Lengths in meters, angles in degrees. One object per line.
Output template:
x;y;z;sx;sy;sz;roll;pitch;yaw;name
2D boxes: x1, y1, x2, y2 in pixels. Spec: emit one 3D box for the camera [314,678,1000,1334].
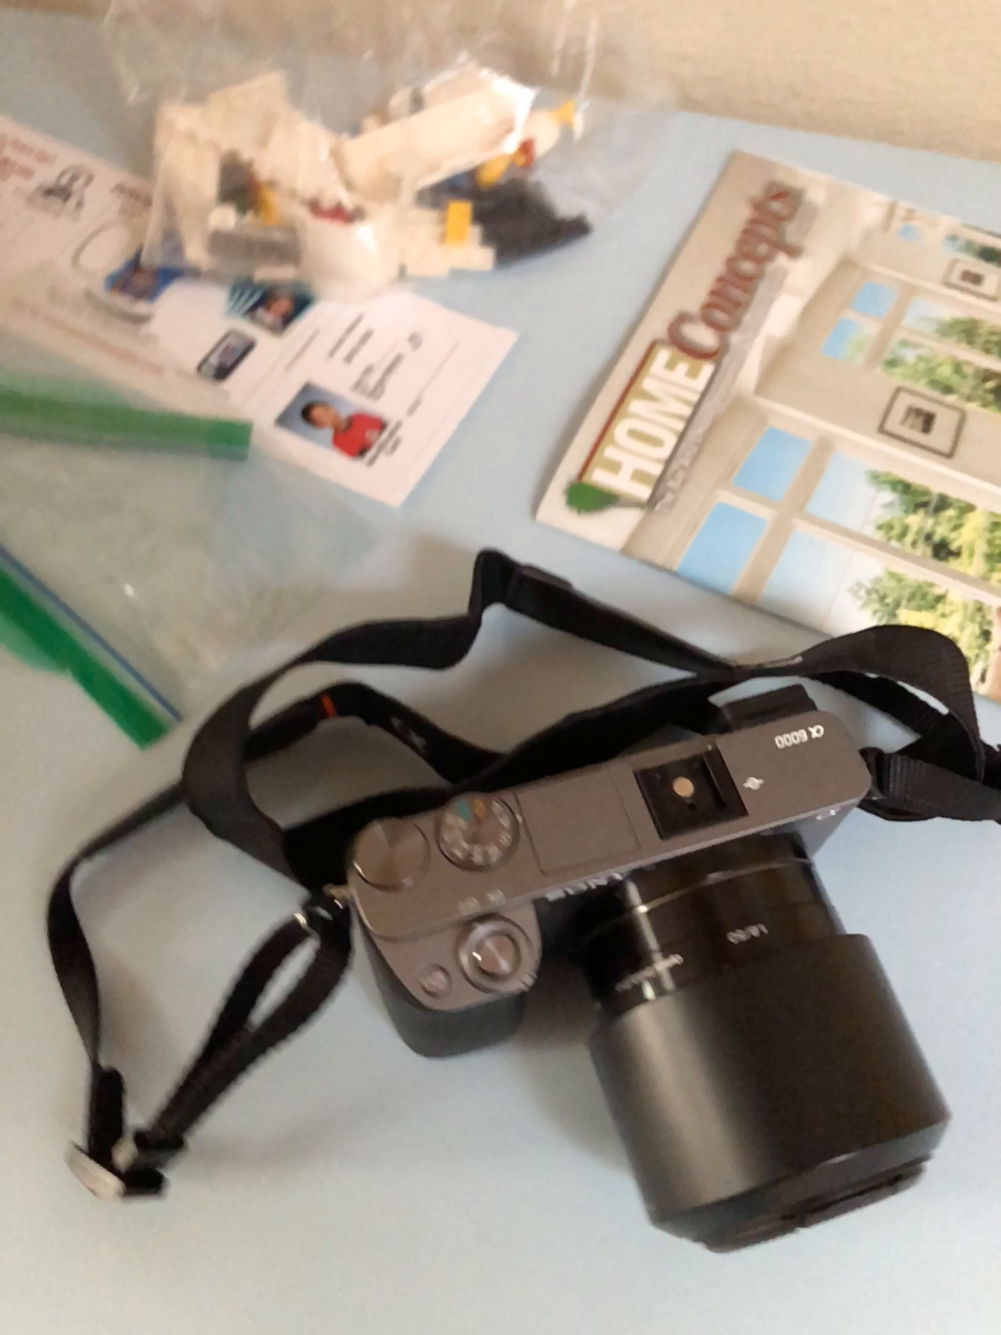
0.036;0.081;0.258;0.130;0.070;0.110;-14;63;-10;camera
